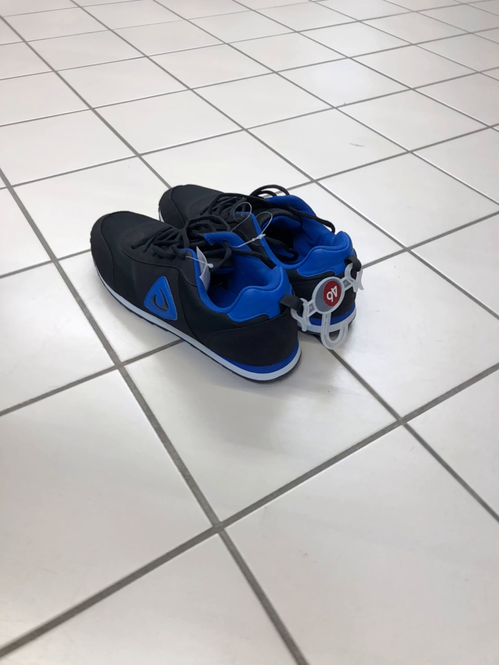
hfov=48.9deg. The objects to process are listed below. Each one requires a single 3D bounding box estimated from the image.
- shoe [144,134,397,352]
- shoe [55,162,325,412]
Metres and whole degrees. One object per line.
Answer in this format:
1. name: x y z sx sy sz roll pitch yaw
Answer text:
1. shoe: 0.011 -0.116 0.643 0.290 0.109 0.101 36 53 29
2. shoe: -0.071 -0.062 0.580 0.290 0.109 0.101 36 53 29
